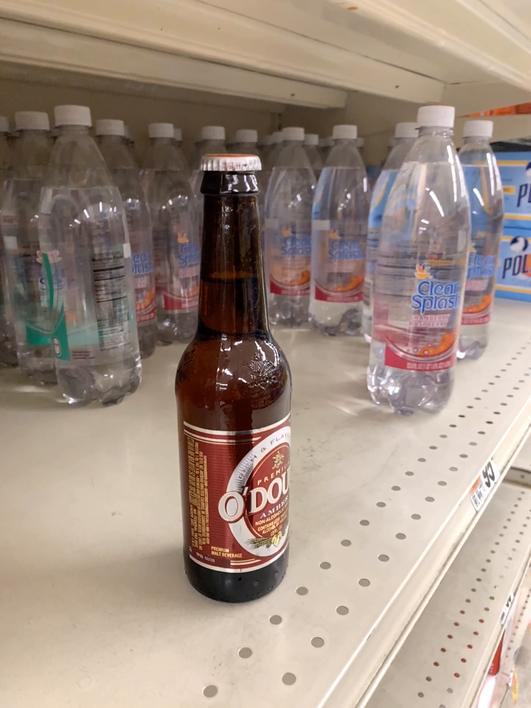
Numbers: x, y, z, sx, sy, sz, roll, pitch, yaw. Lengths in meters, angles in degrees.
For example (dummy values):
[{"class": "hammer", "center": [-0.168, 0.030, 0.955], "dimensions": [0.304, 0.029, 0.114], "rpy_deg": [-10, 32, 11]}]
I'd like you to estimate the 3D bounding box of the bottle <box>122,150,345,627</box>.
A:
[{"class": "bottle", "center": [-0.016, 0.014, 0.280], "dimensions": [0.070, 0.219, 0.070], "rpy_deg": [1, 19, 0]}]
